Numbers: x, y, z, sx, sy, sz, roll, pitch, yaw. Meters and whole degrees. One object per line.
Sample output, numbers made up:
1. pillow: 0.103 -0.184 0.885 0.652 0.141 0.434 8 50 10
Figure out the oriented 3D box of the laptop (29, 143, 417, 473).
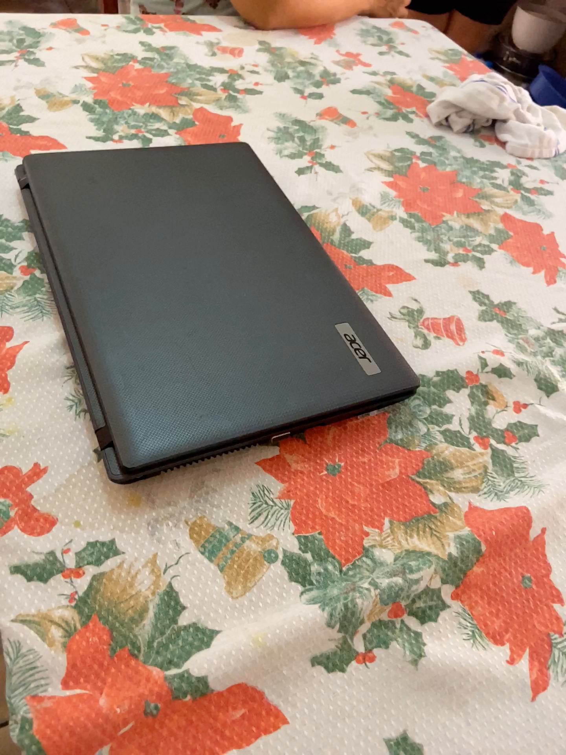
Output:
1. laptop: -0.069 -0.098 0.499 0.223 0.001 0.351 -14 55 -22
